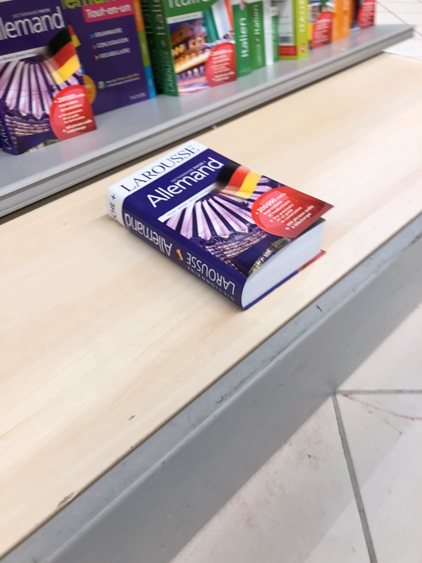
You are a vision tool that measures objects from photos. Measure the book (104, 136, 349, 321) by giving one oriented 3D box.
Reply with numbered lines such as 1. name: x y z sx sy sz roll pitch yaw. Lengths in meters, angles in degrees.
1. book: 0.009 -0.061 0.423 0.121 0.050 0.181 -33 52 -32
